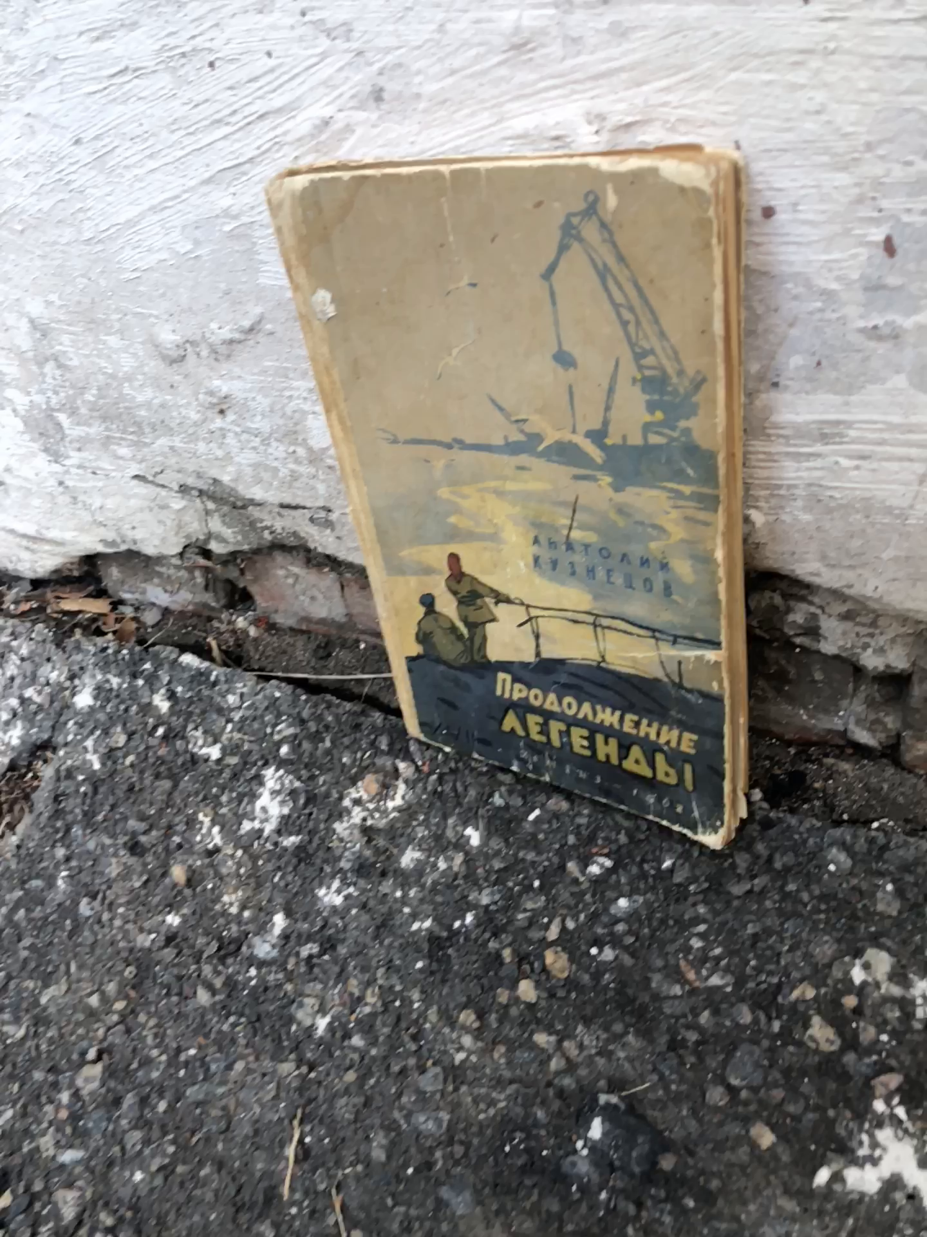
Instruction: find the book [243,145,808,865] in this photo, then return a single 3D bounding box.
[{"bbox_3d":[0.018,-0.029,0.288,0.136,0.181,0.030,13,36,31],"label":"book"}]
